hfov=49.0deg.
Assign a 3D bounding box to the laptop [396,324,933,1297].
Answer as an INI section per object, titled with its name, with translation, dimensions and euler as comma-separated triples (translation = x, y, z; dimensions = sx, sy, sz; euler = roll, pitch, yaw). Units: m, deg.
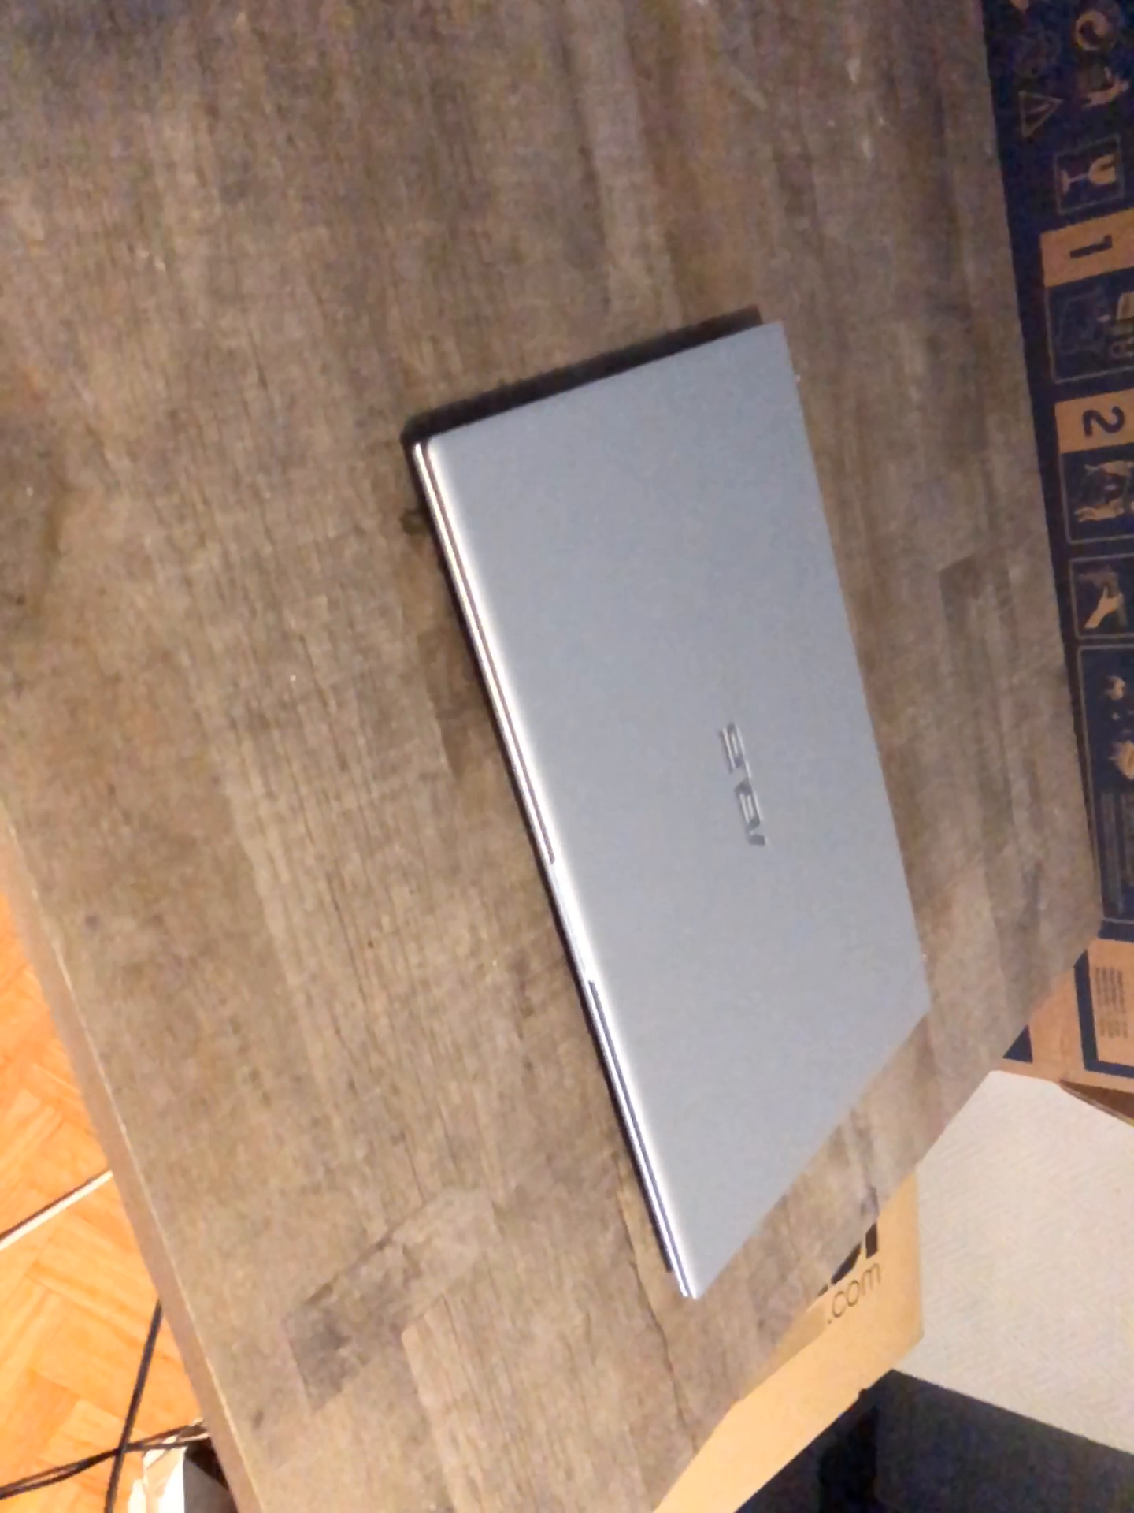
[laptop]
translation = 0.070, 0.015, 0.535
dimensions = 0.229, 0.013, 0.354
euler = -34, 115, -42
